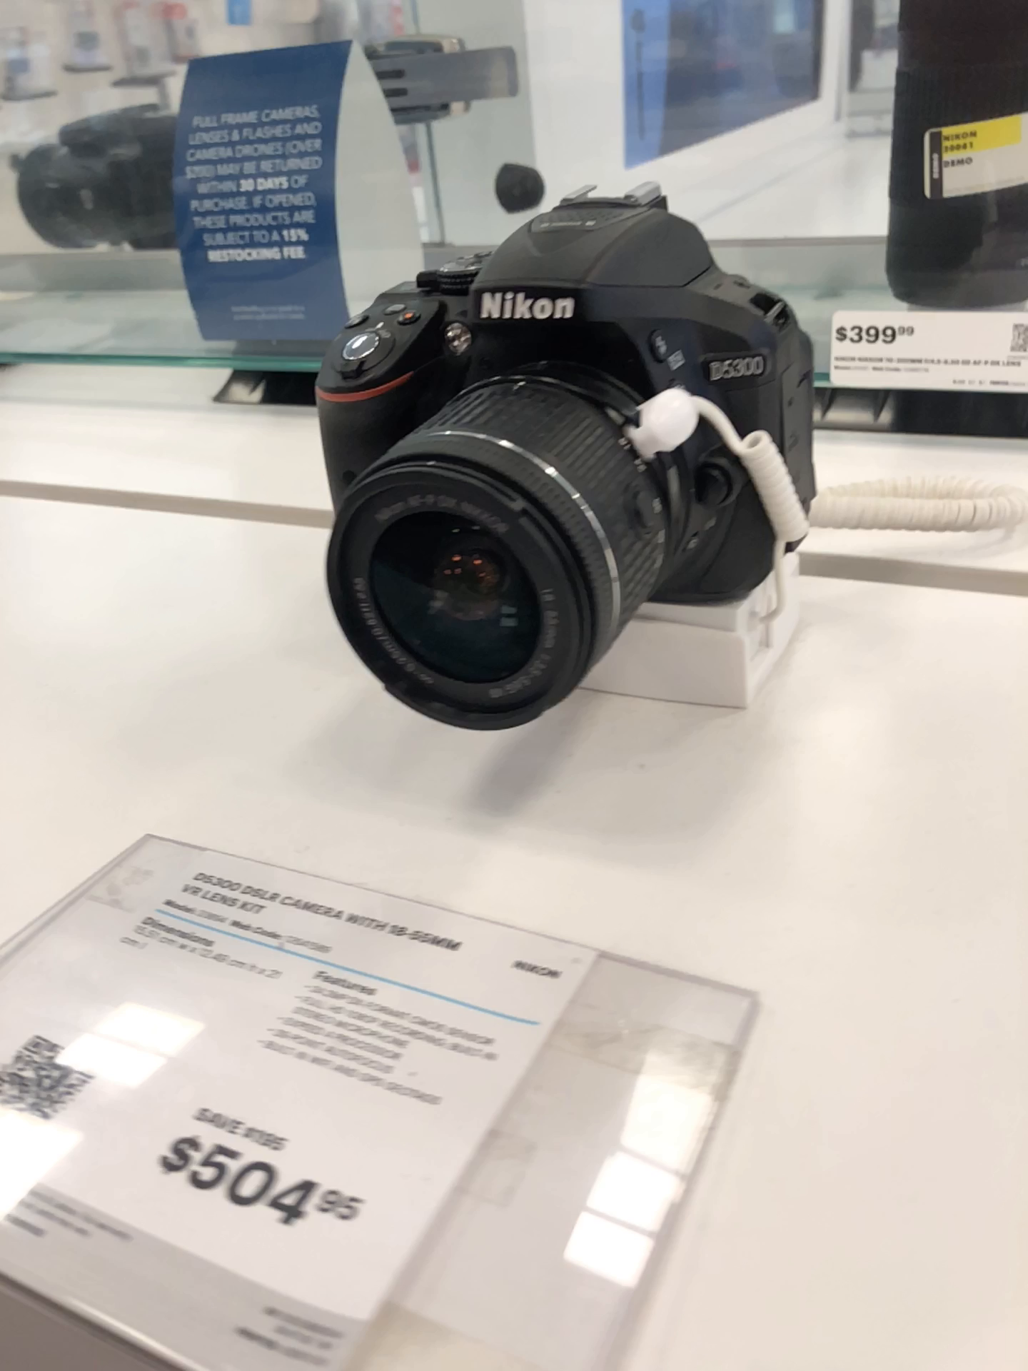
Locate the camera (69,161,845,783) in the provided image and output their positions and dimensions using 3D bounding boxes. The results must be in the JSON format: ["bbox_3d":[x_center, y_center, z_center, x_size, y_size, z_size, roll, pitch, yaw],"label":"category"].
[{"bbox_3d":[0.001,-0.065,0.289,0.130,0.100,0.140,8,32,25],"label":"camera"}]
